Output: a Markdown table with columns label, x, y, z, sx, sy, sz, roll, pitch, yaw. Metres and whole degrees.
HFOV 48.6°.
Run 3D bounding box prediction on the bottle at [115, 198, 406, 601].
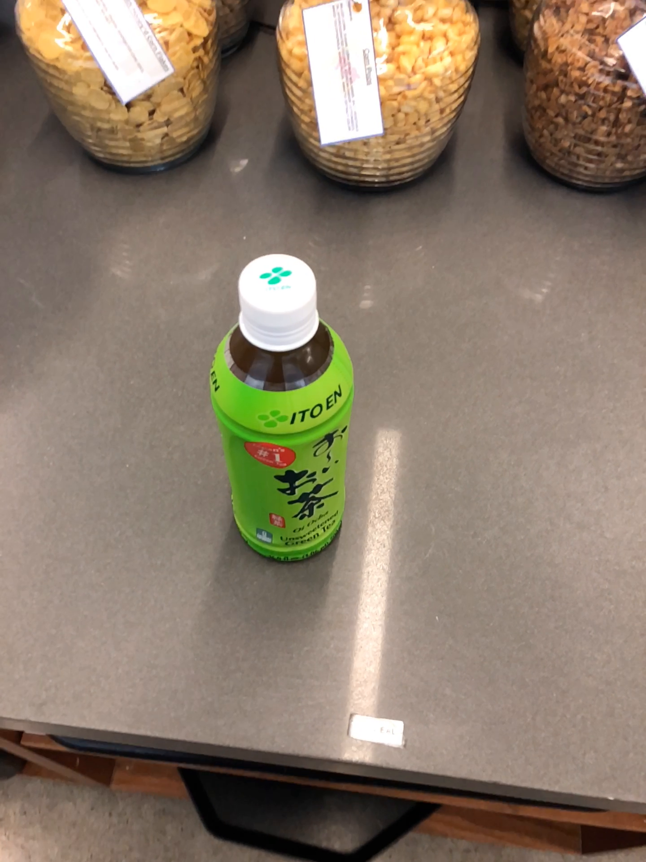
| label | x | y | z | sx | sy | sz | roll | pitch | yaw |
| --- | --- | --- | --- | --- | --- | --- | --- | --- | --- |
| bottle | -0.025 | -0.002 | 0.358 | 0.080 | 0.190 | 0.080 | 0 | 57 | 0 |
